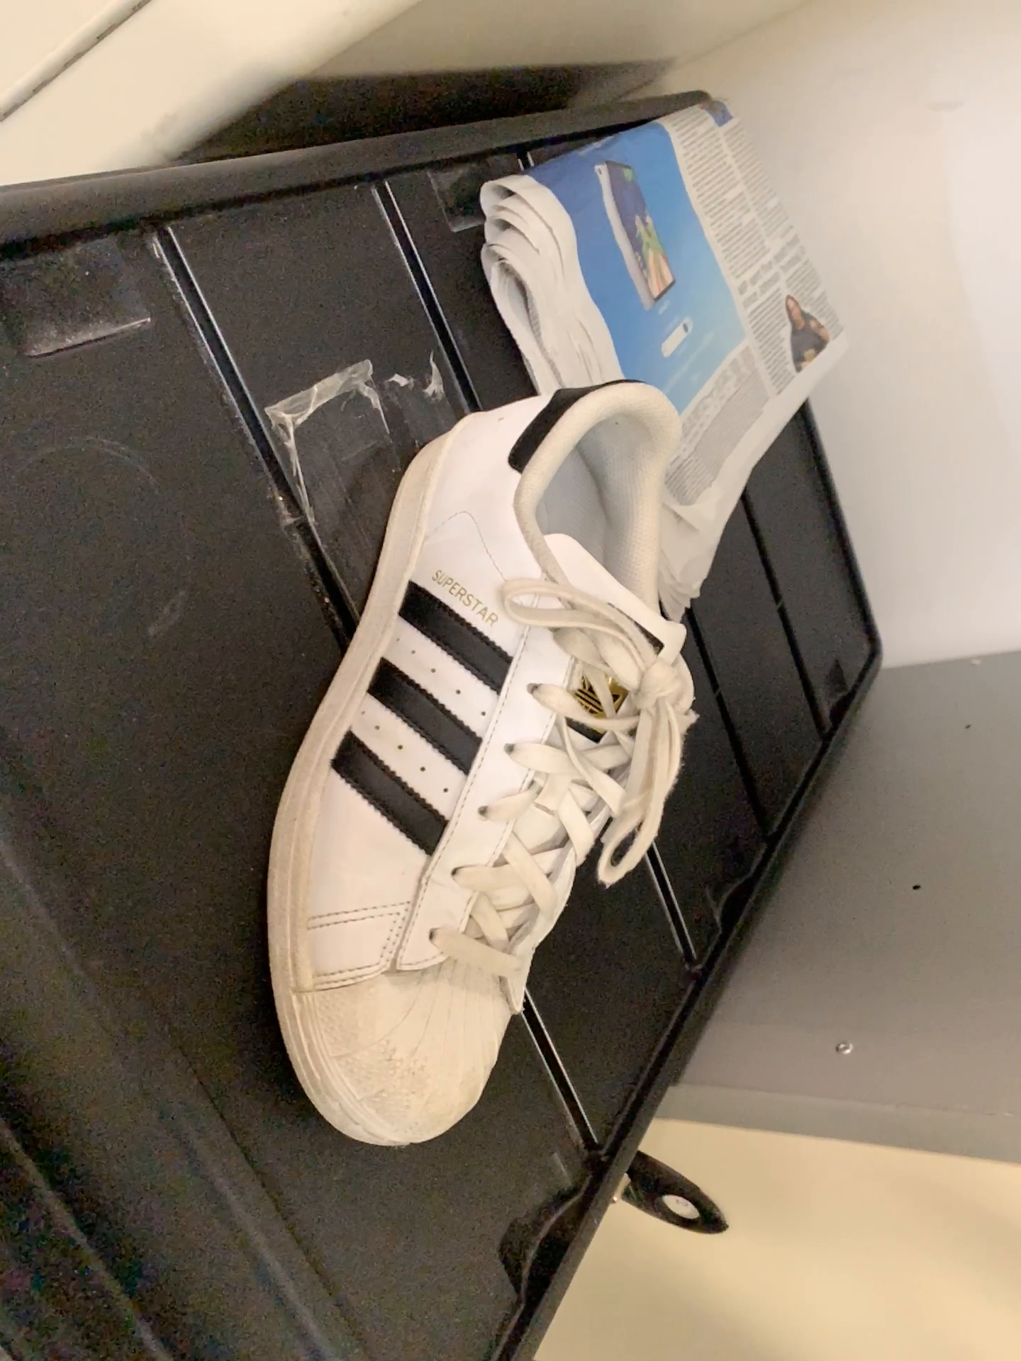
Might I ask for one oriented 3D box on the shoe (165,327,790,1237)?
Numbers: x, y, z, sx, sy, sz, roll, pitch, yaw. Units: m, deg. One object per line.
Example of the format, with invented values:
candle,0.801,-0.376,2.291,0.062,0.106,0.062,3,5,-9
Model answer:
shoe,0.004,0.027,0.334,0.104,0.092,0.243,37,61,-44
